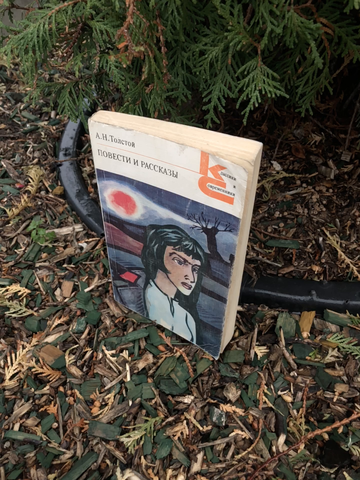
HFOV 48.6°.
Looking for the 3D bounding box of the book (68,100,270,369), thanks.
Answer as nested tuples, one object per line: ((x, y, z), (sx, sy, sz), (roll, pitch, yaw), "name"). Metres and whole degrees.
((-0.007, 0.004, 0.320), (0.130, 0.196, 0.041), (23, 48, 26), "book")
